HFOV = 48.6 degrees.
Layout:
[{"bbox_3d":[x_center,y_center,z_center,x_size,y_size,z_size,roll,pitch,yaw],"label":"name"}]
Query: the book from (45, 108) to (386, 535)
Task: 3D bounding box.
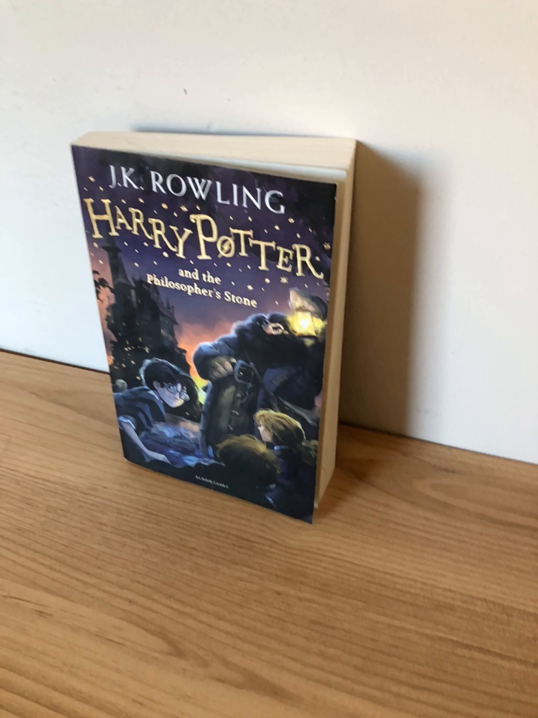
[{"bbox_3d":[-0.025,-0.018,0.318,0.135,0.192,0.068,15,36,18],"label":"book"}]
